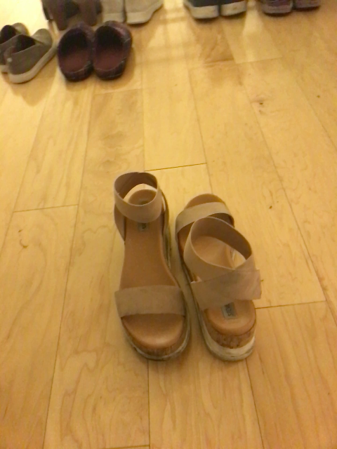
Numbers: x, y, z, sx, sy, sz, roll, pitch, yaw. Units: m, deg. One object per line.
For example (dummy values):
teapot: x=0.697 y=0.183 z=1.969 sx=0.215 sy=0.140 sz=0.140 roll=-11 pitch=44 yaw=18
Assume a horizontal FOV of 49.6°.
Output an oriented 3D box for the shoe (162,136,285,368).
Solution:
shoe: x=0.061 y=0.025 z=0.515 sx=0.100 sy=0.139 sz=0.292 roll=-8 pitch=49 yaw=1

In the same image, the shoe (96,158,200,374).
shoe: x=-0.029 y=0.048 z=0.505 sx=0.100 sy=0.139 sz=0.252 roll=-9 pitch=49 yaw=1
